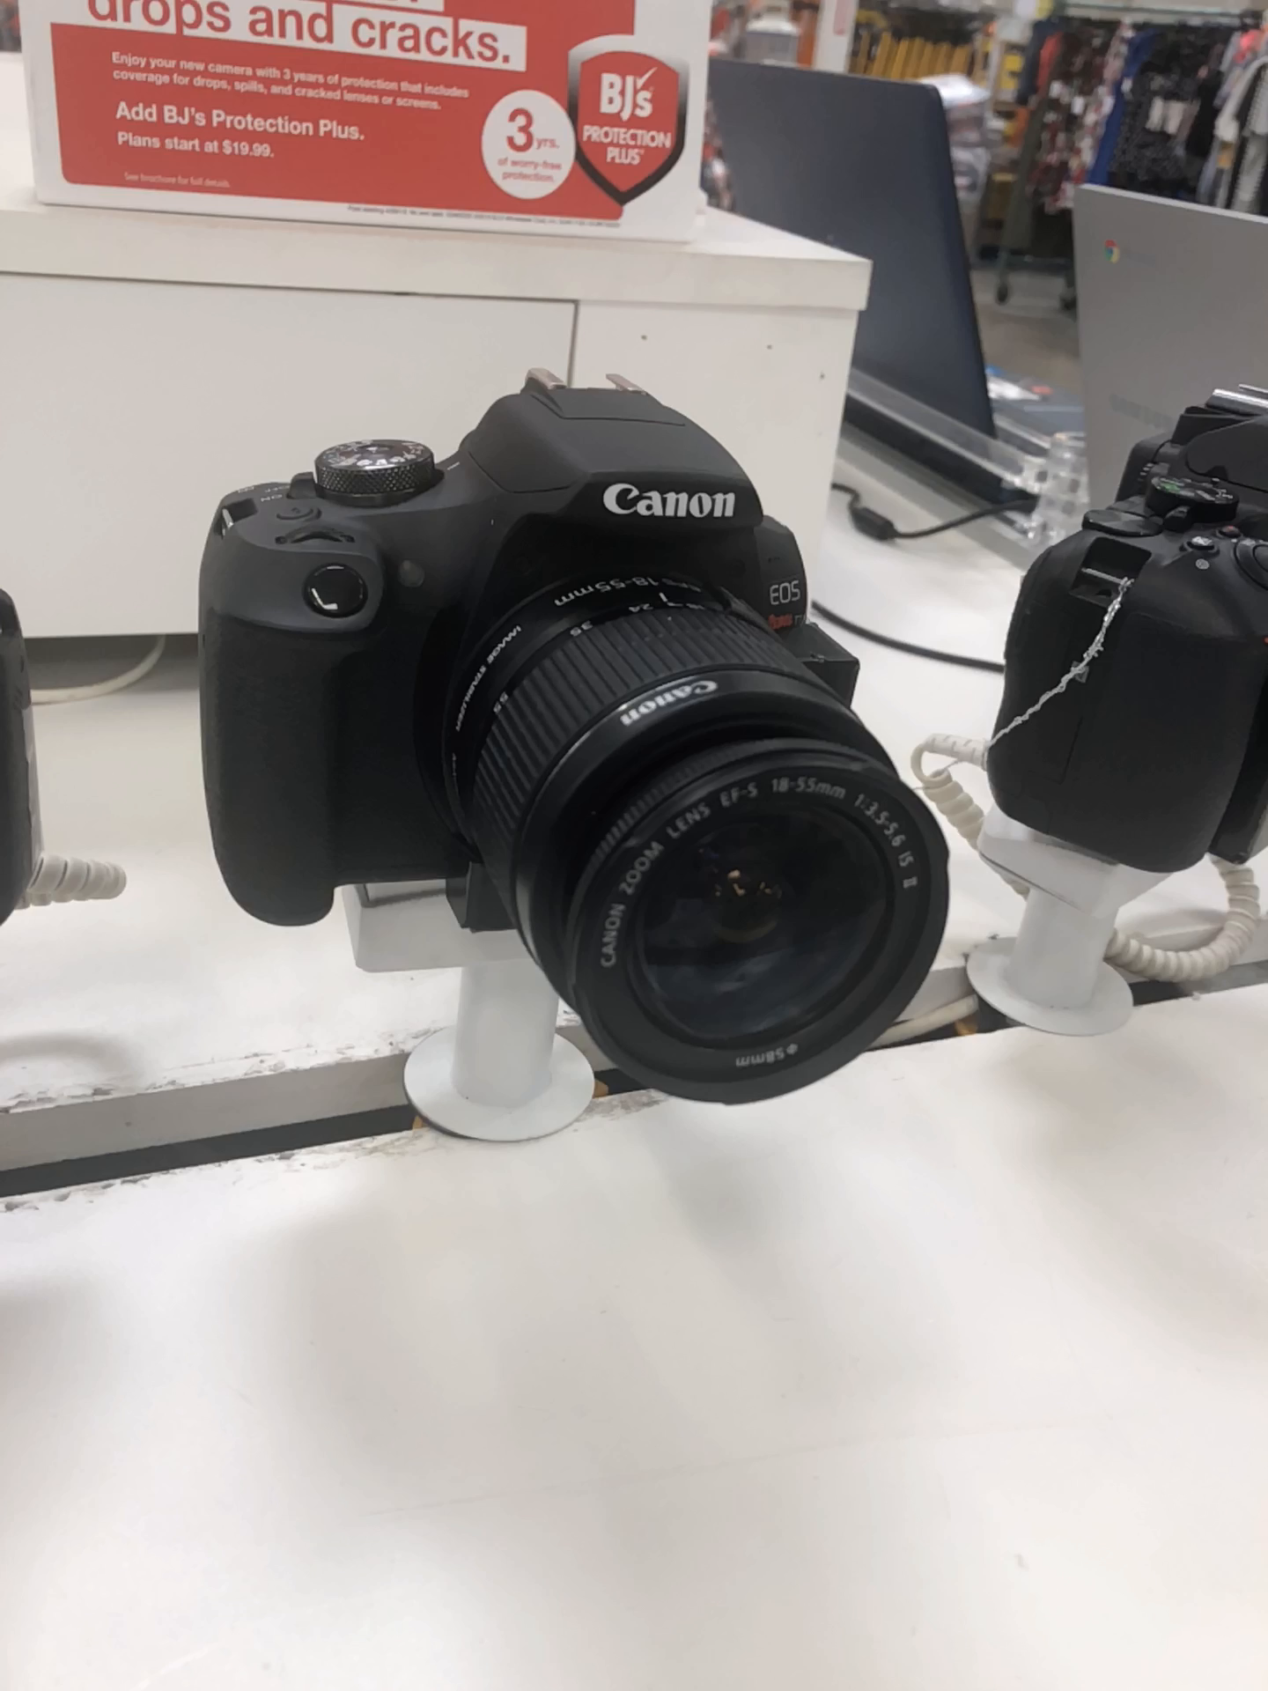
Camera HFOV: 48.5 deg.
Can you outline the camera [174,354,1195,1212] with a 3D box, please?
[{"bbox_3d":[-0.006,-0.026,0.258,0.130,0.092,0.132,-7,32,-22],"label":"camera"}]
